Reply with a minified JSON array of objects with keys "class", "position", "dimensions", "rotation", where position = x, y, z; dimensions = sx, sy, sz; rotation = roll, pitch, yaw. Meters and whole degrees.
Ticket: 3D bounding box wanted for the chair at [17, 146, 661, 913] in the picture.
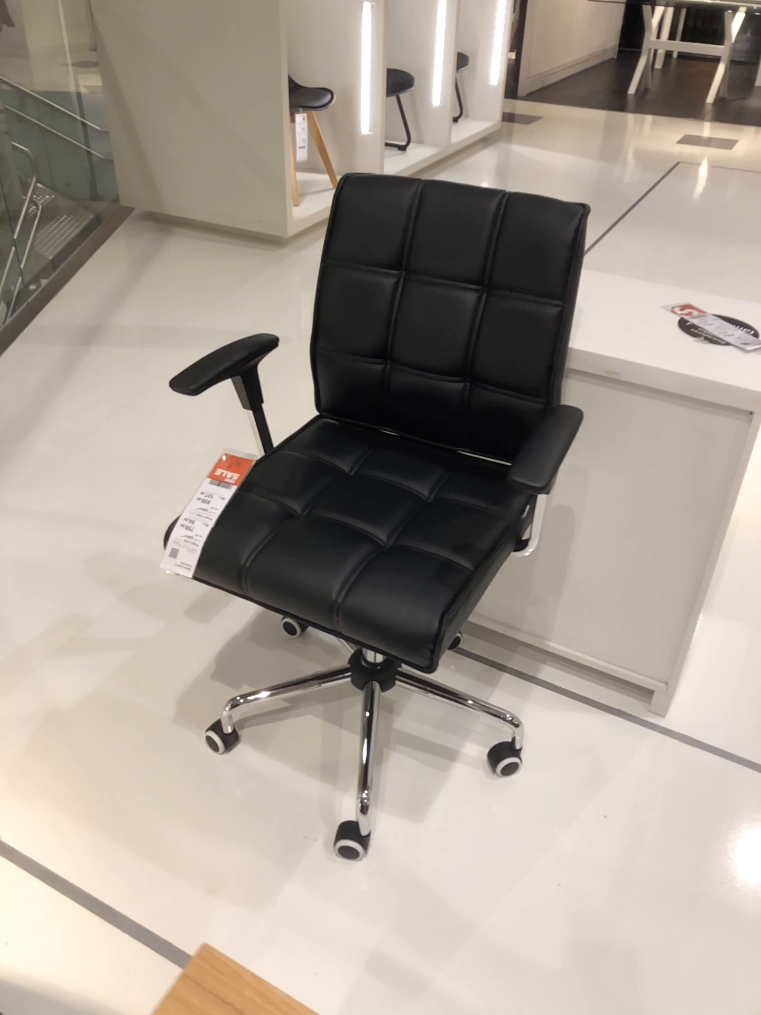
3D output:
[{"class":"chair","position":[-0.001,-0.021,1.416],"dimensions":[0.621,0.913,0.745],"rotation":[16,37,20]}]
